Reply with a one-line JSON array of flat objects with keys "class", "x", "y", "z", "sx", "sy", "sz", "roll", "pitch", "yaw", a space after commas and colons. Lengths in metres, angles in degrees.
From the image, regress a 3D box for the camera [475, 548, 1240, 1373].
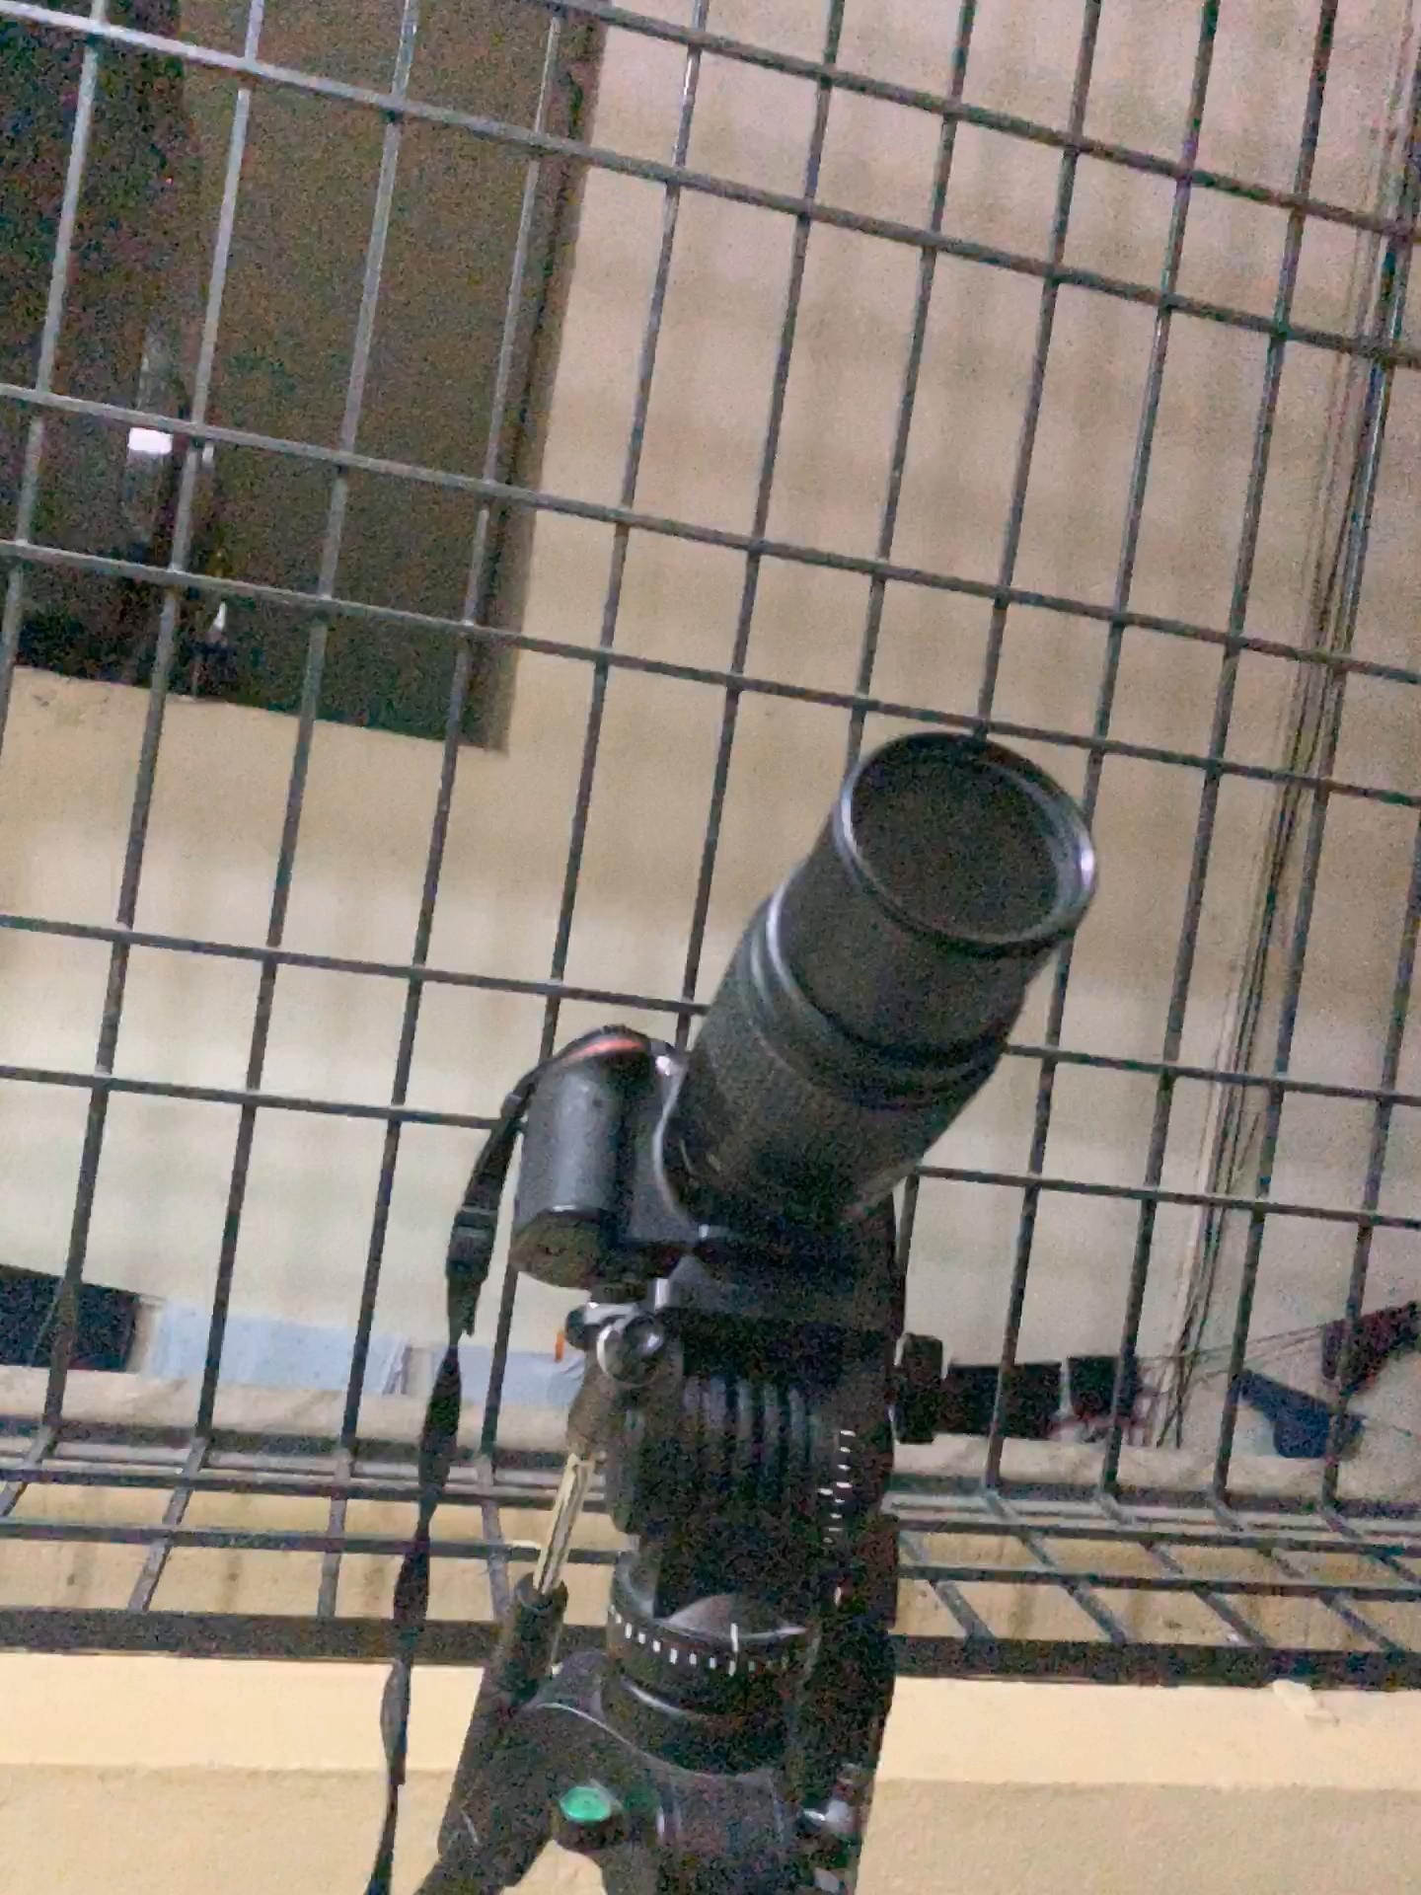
[{"class": "camera", "x": 0.019, "y": 0.020, "z": 0.393, "sx": 0.136, "sy": 0.101, "sz": 0.209, "roll": 8, "pitch": -39, "yaw": -9}]
